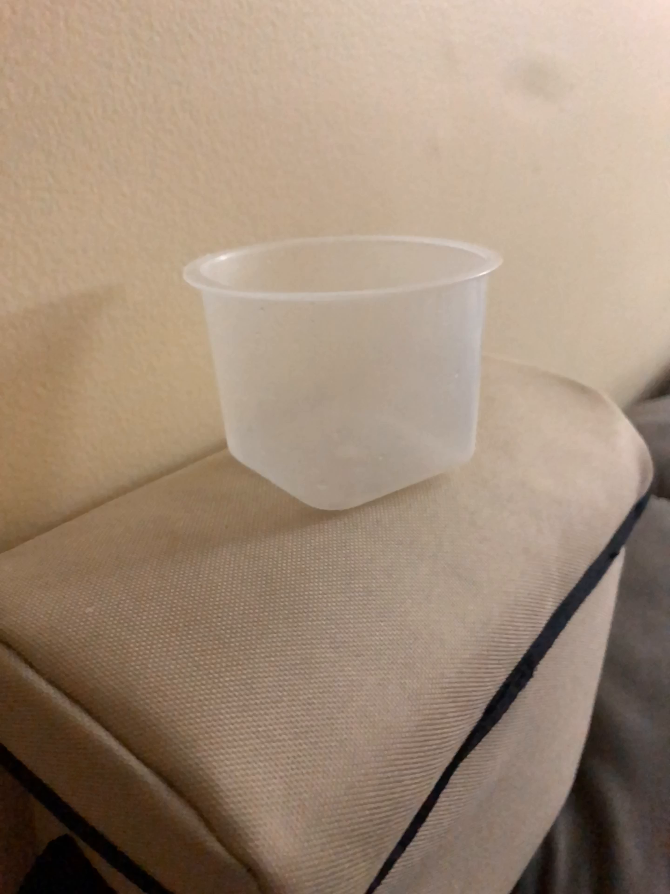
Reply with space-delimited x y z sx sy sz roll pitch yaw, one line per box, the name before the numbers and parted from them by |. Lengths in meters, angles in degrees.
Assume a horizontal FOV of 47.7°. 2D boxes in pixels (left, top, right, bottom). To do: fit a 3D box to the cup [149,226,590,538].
cup | 0.008 -0.025 0.200 0.080 0.046 0.076 1 25 0
